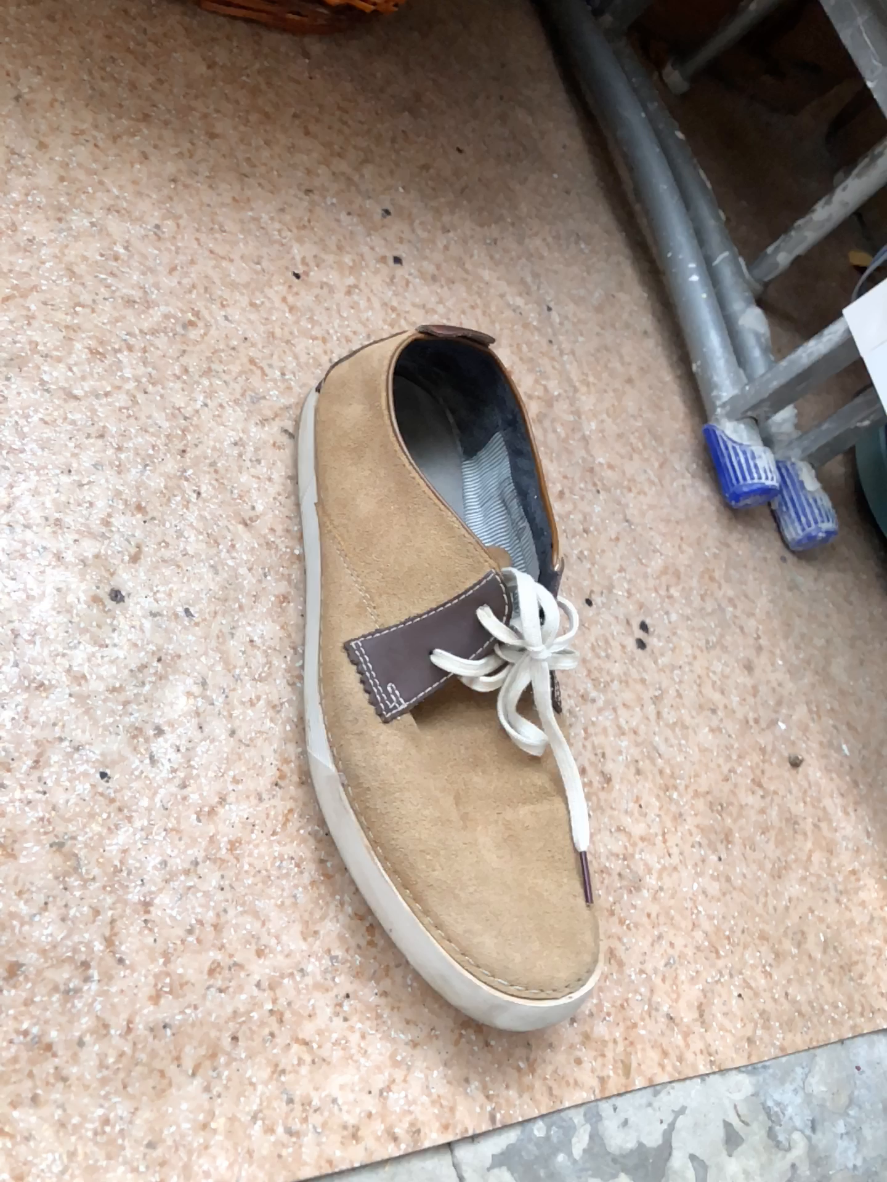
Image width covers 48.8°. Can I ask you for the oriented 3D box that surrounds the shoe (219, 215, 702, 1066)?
[{"bbox_3d":[-0.007,0.012,0.390,0.110,0.089,0.301,5,63,-34],"label":"shoe"}]
